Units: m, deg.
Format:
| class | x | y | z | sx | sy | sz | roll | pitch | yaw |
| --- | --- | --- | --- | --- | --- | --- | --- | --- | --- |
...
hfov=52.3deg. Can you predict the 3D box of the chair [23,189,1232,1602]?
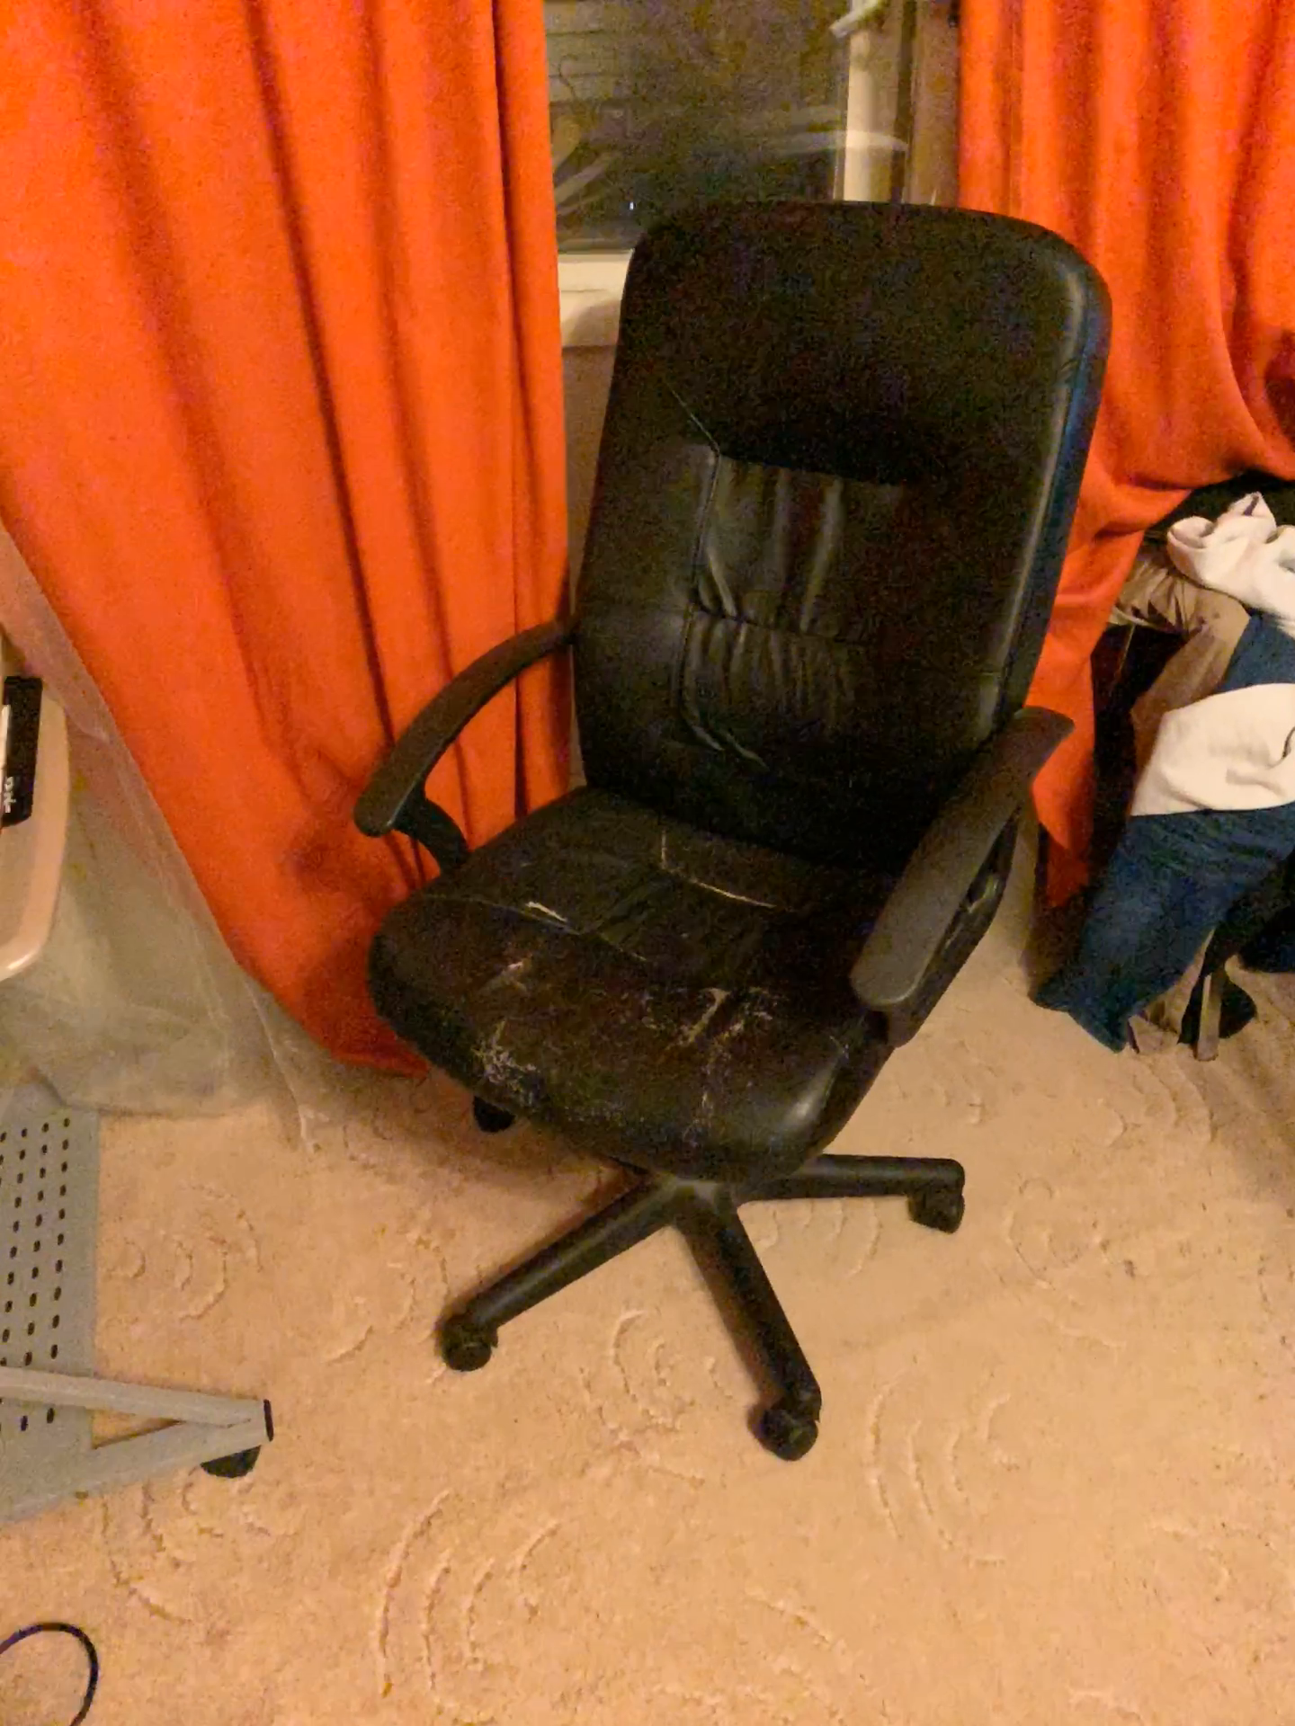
| class | x | y | z | sx | sy | sz | roll | pitch | yaw |
| --- | --- | --- | --- | --- | --- | --- | --- | --- | --- |
| chair | 0.046 | -0.024 | 1.398 | 0.711 | 1.124 | 0.743 | 18 | 39 | 27 |
